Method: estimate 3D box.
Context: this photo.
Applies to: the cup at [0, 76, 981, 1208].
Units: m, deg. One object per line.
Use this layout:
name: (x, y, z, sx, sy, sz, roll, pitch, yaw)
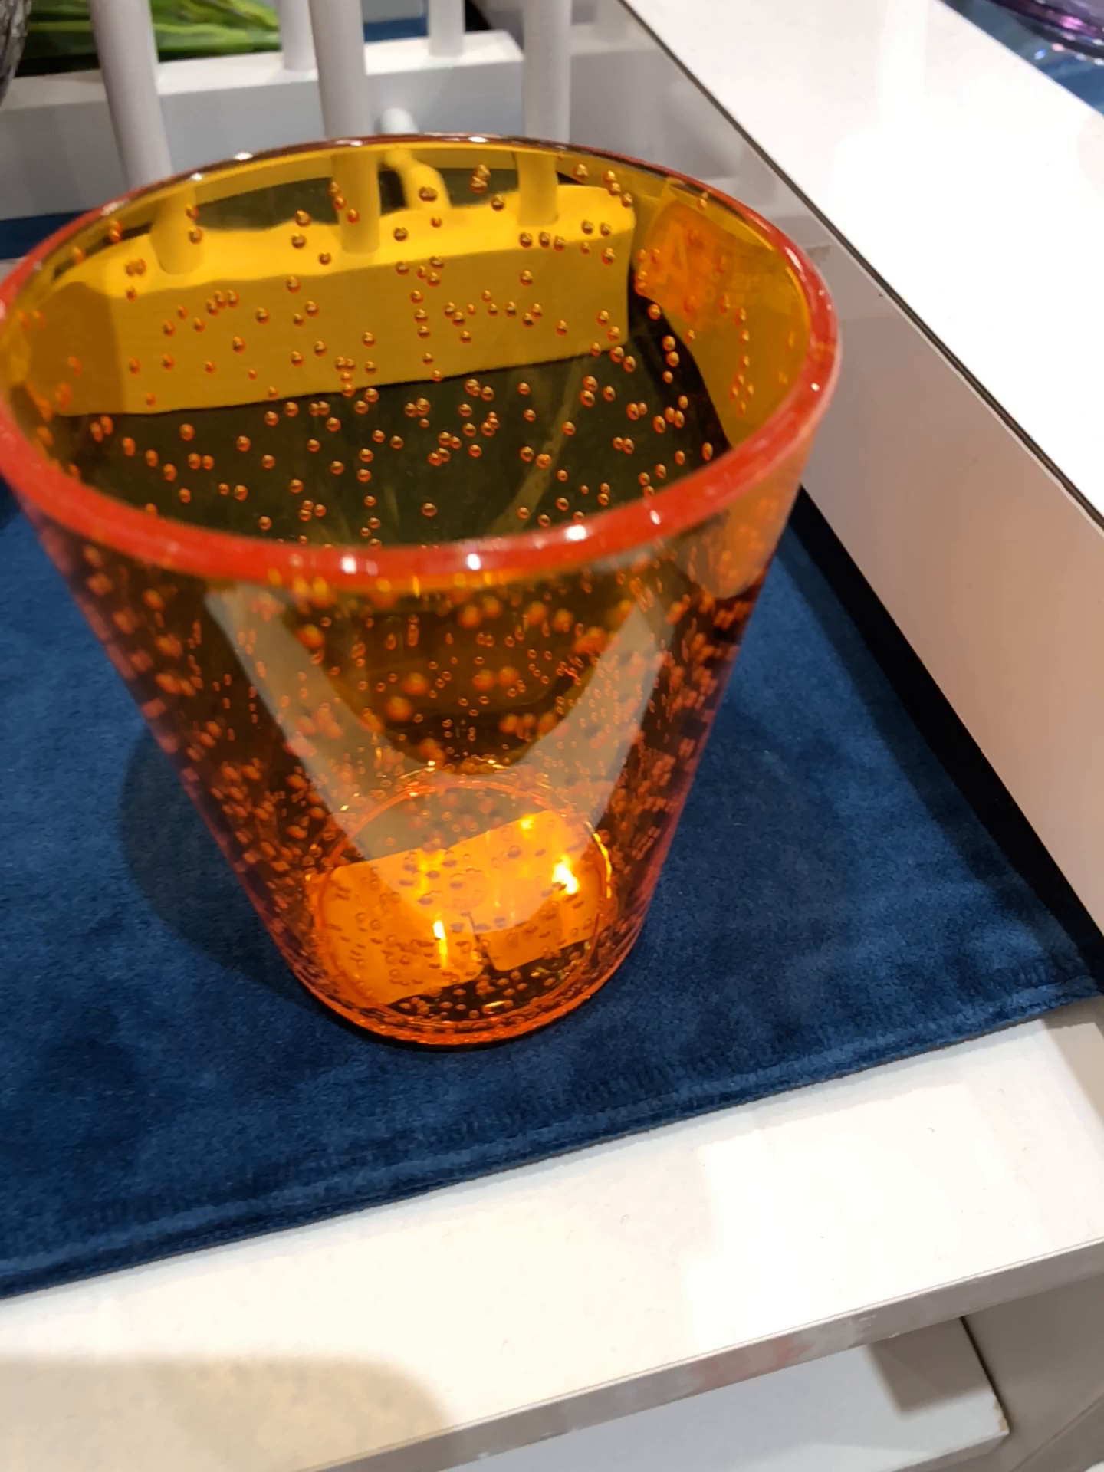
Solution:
cup: (-0.016, -0.012, 0.146, 0.080, 0.090, 0.070, -21, 51, -20)
